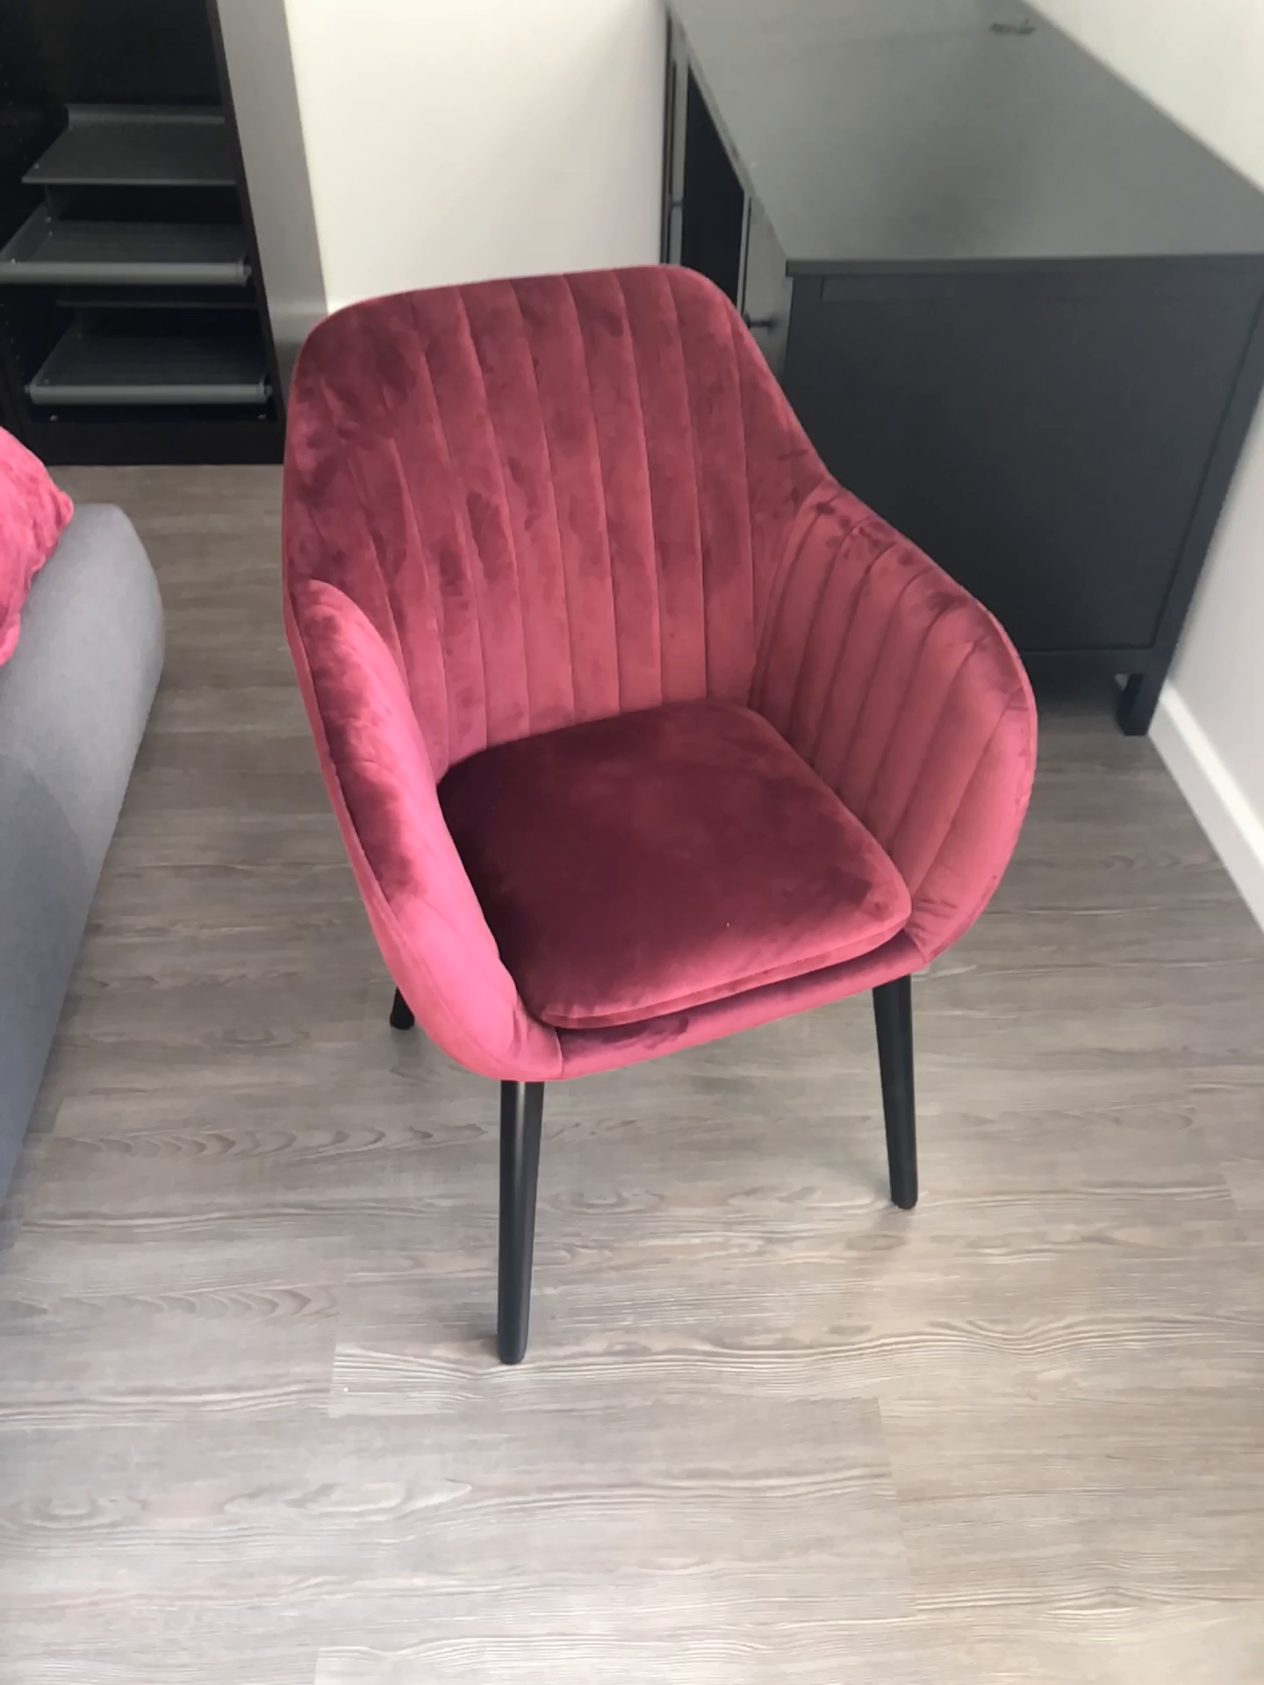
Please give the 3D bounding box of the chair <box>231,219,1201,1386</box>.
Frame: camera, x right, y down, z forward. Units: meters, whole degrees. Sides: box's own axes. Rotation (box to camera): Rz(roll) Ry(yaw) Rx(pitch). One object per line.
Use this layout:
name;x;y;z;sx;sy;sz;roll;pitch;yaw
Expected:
chair;0.010;-0.033;1.286;0.541;0.835;0.552;-13;44;-16
